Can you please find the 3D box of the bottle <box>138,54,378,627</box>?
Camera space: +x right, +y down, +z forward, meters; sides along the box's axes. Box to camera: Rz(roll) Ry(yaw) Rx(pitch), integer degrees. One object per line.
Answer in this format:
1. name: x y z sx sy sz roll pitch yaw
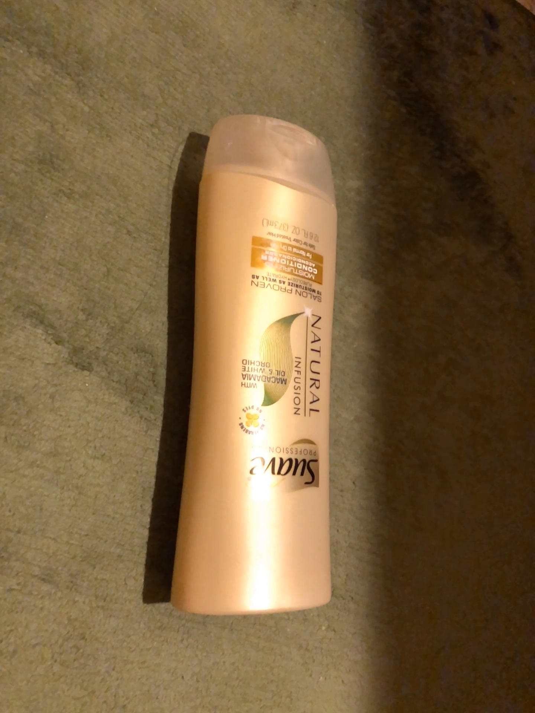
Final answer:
1. bottle: 0.000 -0.007 0.265 0.080 0.050 0.220 9 78 -31
